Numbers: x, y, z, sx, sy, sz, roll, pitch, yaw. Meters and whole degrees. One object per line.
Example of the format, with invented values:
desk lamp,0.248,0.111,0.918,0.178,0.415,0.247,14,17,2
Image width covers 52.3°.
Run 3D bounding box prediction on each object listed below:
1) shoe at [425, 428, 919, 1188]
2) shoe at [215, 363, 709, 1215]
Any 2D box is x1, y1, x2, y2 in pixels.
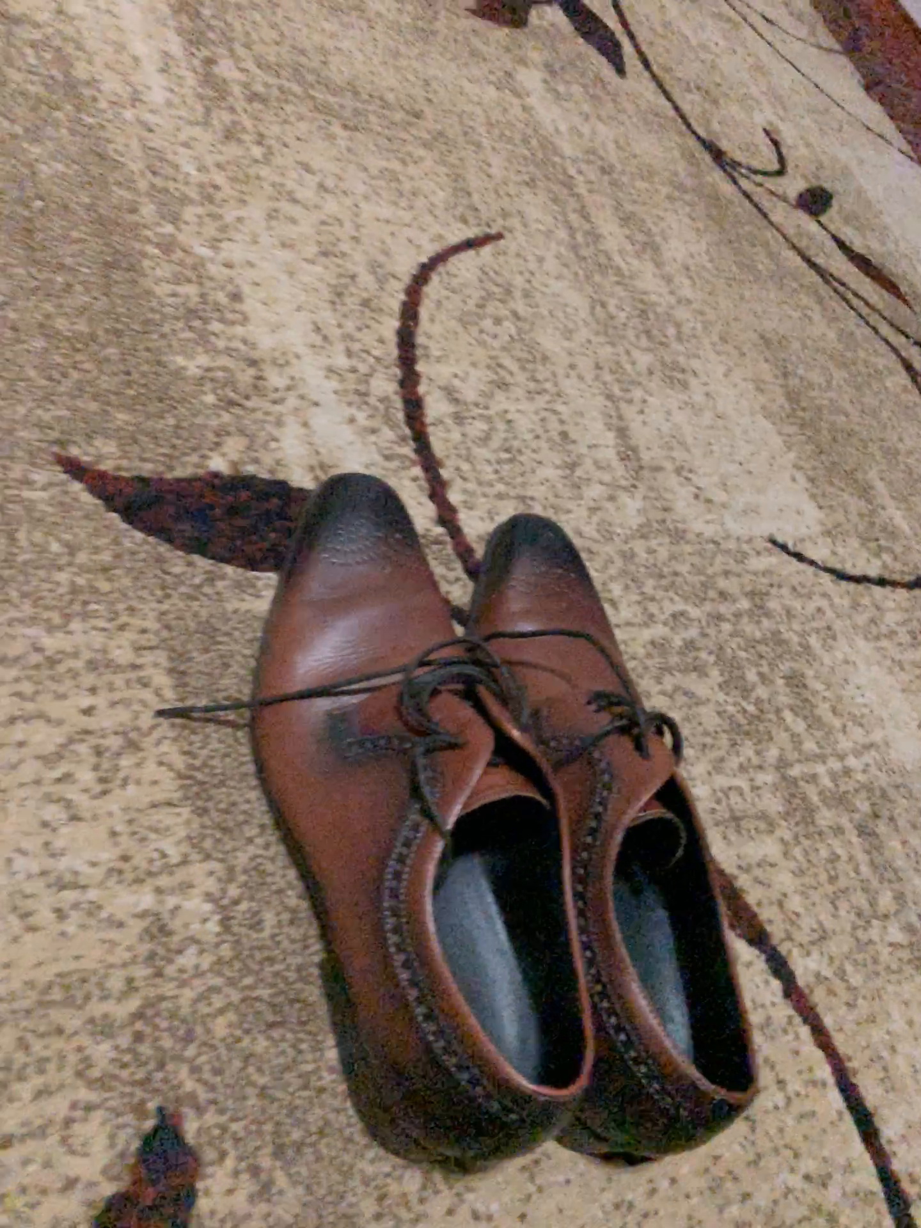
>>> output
shoe,0.069,0.076,0.412,0.100,0.115,0.287,8,57,-27
shoe,-0.021,0.057,0.371,0.100,0.115,0.287,4,59,-29
